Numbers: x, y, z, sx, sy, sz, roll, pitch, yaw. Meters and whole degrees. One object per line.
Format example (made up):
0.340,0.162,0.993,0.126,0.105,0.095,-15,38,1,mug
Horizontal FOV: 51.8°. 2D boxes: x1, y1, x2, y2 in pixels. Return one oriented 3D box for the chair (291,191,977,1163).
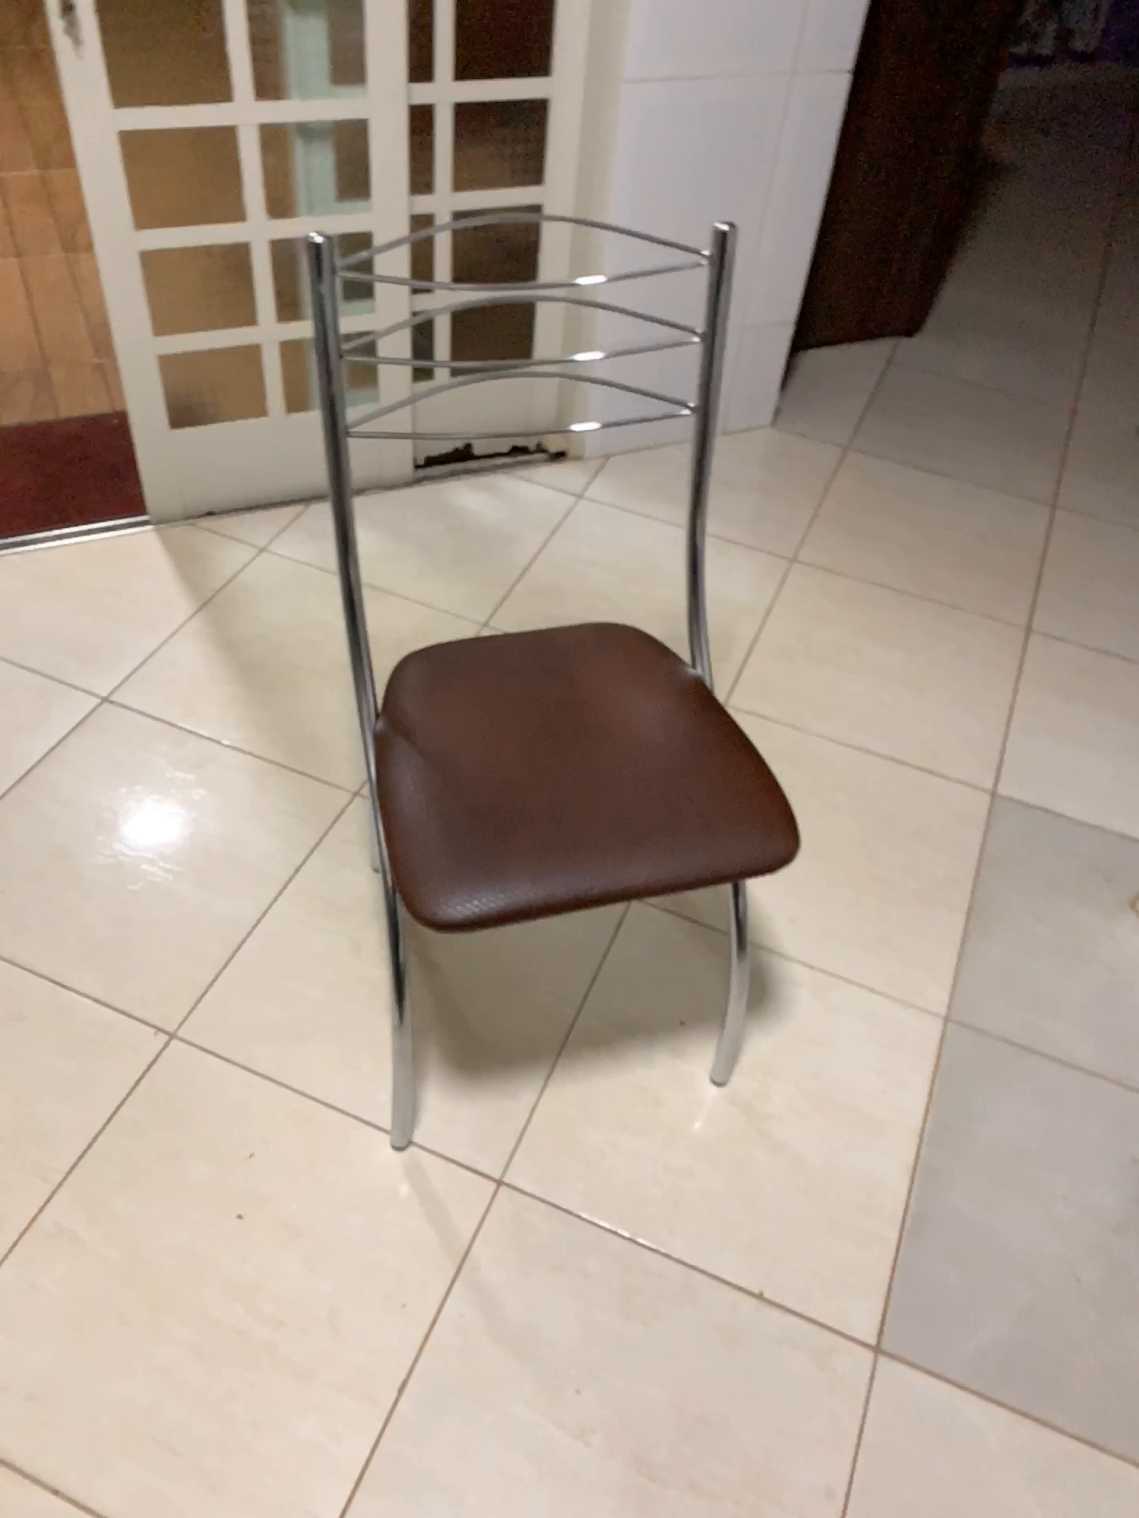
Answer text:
-0.020,-0.044,1.224,0.418,0.871,0.487,-7,47,-14,chair
